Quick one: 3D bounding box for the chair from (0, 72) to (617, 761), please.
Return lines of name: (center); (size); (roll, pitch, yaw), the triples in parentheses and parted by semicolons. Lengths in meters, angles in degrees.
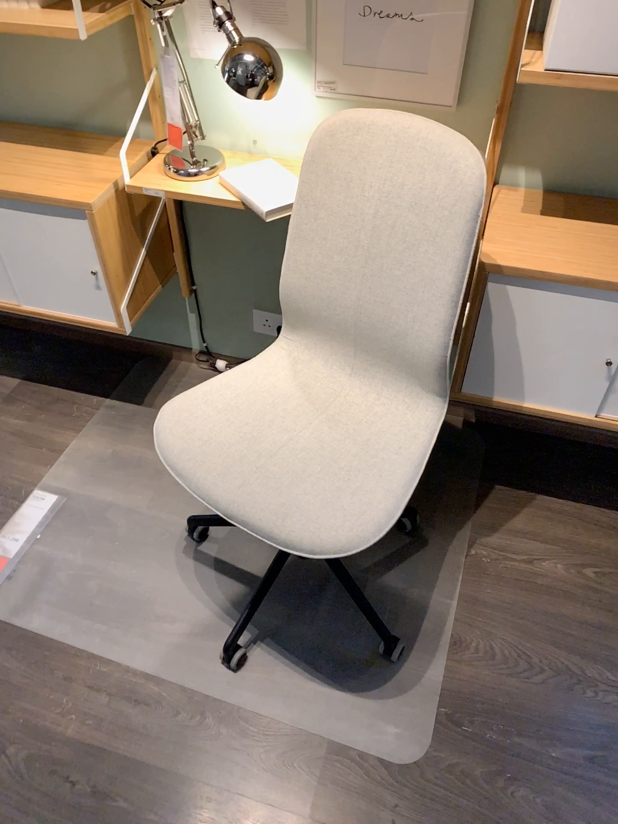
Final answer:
chair: (-0.001, 0.026, 1.186); (0.621, 0.966, 0.621); (29, 51, 26)
